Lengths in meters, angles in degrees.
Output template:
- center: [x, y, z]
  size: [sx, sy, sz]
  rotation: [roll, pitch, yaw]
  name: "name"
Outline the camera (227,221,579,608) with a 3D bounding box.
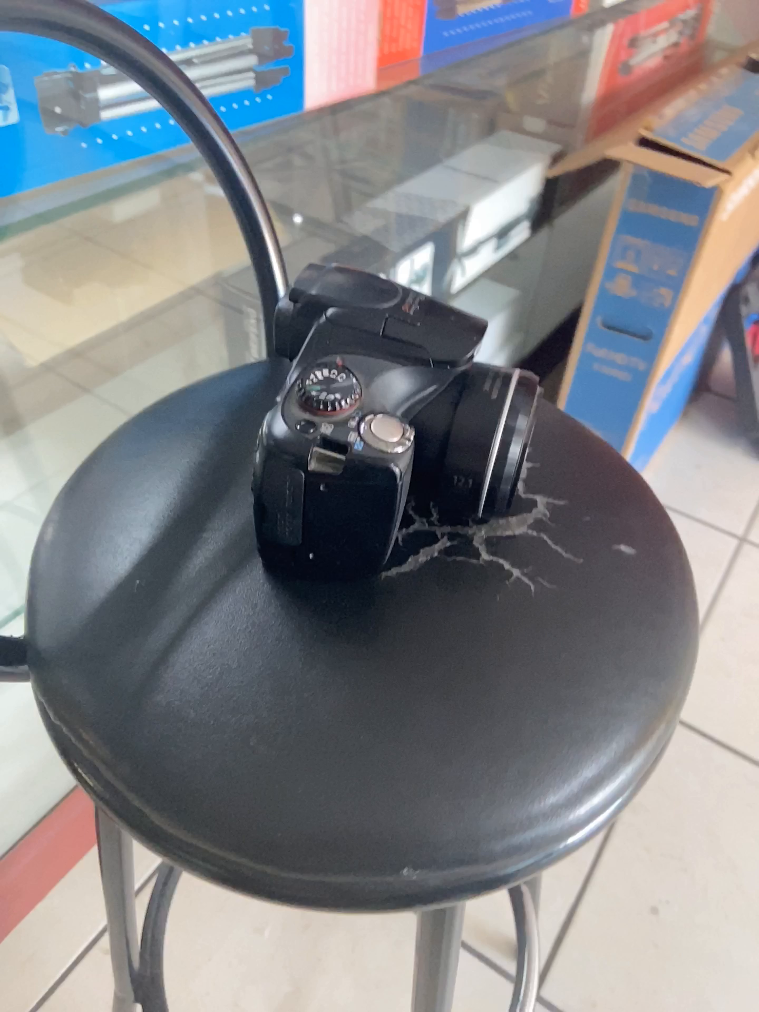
- center: [0.015, -0.043, 0.326]
  size: [0.110, 0.089, 0.121]
  rotation: [11, 43, 8]
  name: "camera"
